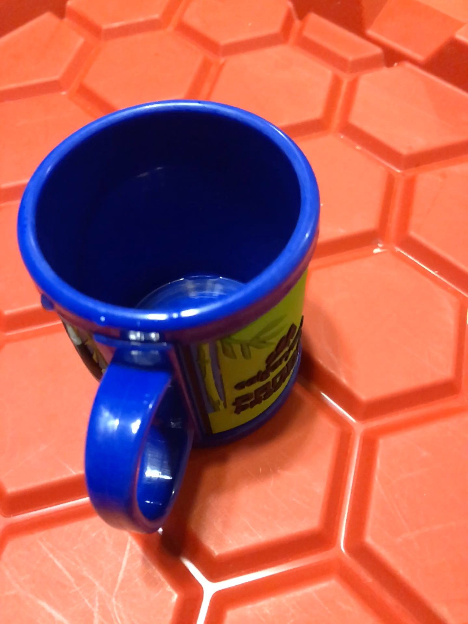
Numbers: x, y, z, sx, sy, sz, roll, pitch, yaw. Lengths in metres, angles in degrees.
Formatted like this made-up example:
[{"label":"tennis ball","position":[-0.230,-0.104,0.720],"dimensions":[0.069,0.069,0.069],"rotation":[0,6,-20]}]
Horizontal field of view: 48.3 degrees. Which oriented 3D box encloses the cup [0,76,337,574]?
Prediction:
[{"label":"cup","position":[-0.021,0.007,0.171],"dimensions":[0.090,0.099,0.121],"rotation":[7,59,8]}]
